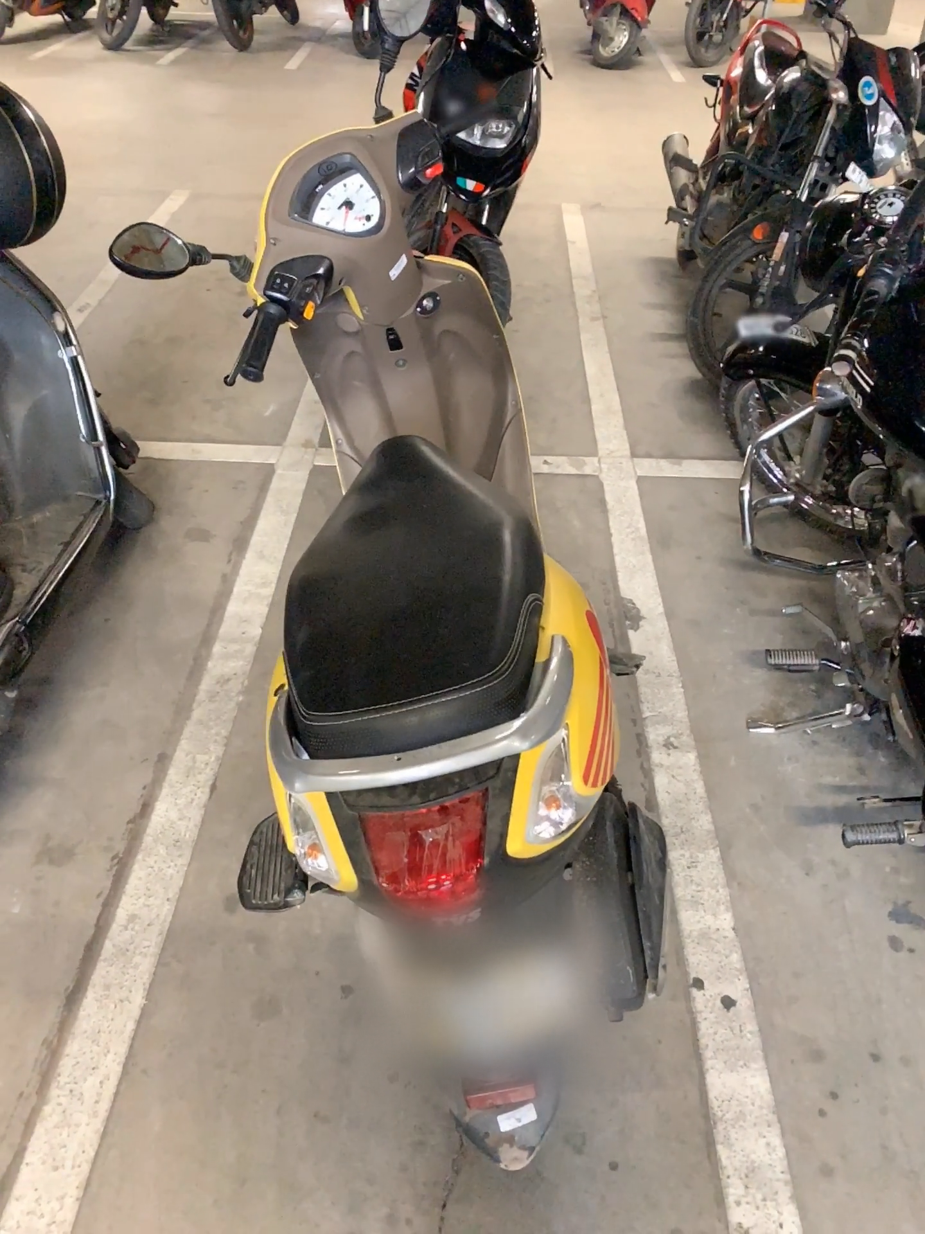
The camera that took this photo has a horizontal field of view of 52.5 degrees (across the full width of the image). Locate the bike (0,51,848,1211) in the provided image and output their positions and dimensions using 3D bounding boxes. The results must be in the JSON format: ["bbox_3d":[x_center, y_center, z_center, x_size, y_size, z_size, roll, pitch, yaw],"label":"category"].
[{"bbox_3d":[-0.098,-0.207,1.561,0.566,1.048,1.713,-1,39,-4],"label":"bike"}]
